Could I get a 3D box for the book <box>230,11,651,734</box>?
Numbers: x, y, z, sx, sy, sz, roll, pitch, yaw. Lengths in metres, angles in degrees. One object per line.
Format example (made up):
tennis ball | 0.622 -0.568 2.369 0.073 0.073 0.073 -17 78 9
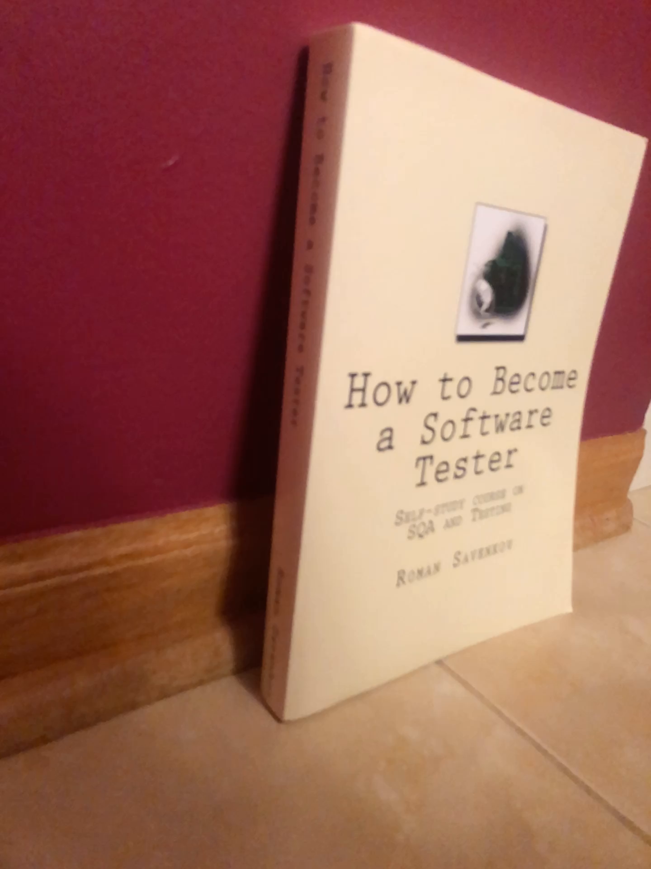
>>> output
book | 0.069 -0.022 0.351 0.221 0.274 0.045 -6 18 -38
